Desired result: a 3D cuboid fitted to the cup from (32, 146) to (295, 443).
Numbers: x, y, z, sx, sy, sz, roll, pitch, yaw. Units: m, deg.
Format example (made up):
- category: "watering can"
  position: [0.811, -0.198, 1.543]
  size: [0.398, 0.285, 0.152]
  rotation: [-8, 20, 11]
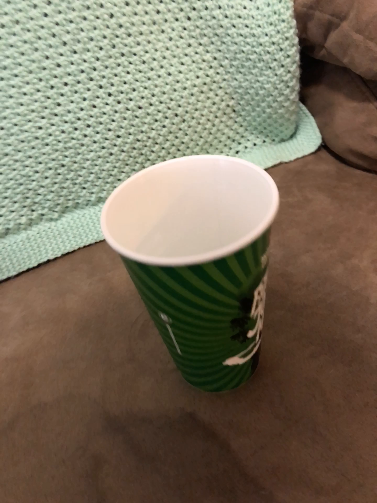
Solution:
- category: "cup"
  position: [0.000, 0.022, 0.259]
  size: [0.100, 0.129, 0.100]
  rotation: [-8, 40, 6]
